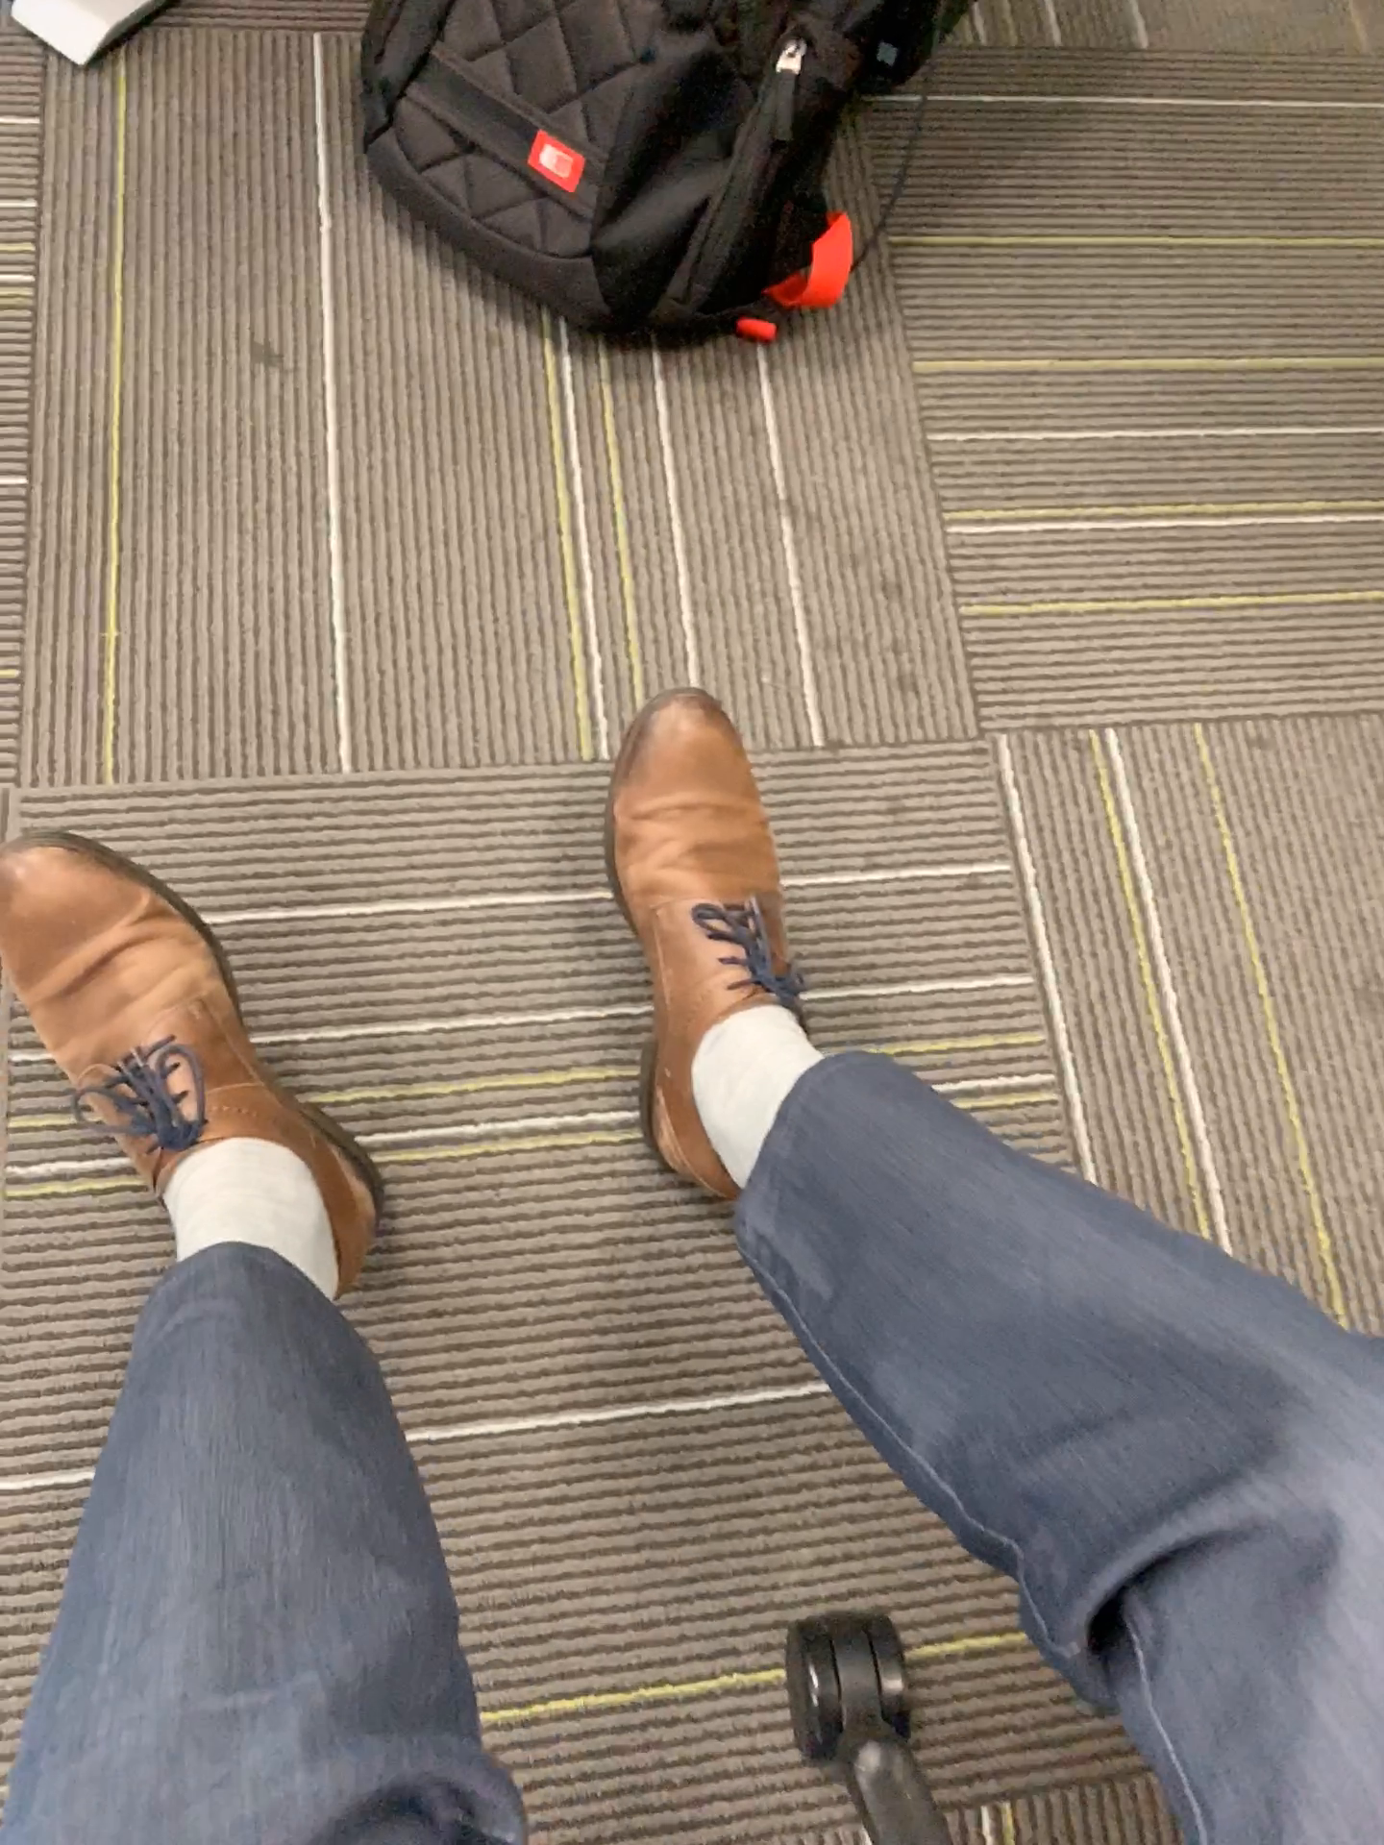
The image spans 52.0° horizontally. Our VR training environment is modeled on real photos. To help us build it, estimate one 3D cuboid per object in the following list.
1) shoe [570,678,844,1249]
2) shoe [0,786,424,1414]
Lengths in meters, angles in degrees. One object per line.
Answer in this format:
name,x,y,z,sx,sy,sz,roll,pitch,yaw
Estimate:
shoe,0.008,0.018,0.754,0.103,0.074,0.281,-4,91,-30
shoe,-0.257,0.082,0.699,0.120,0.084,0.271,-29,97,-3
